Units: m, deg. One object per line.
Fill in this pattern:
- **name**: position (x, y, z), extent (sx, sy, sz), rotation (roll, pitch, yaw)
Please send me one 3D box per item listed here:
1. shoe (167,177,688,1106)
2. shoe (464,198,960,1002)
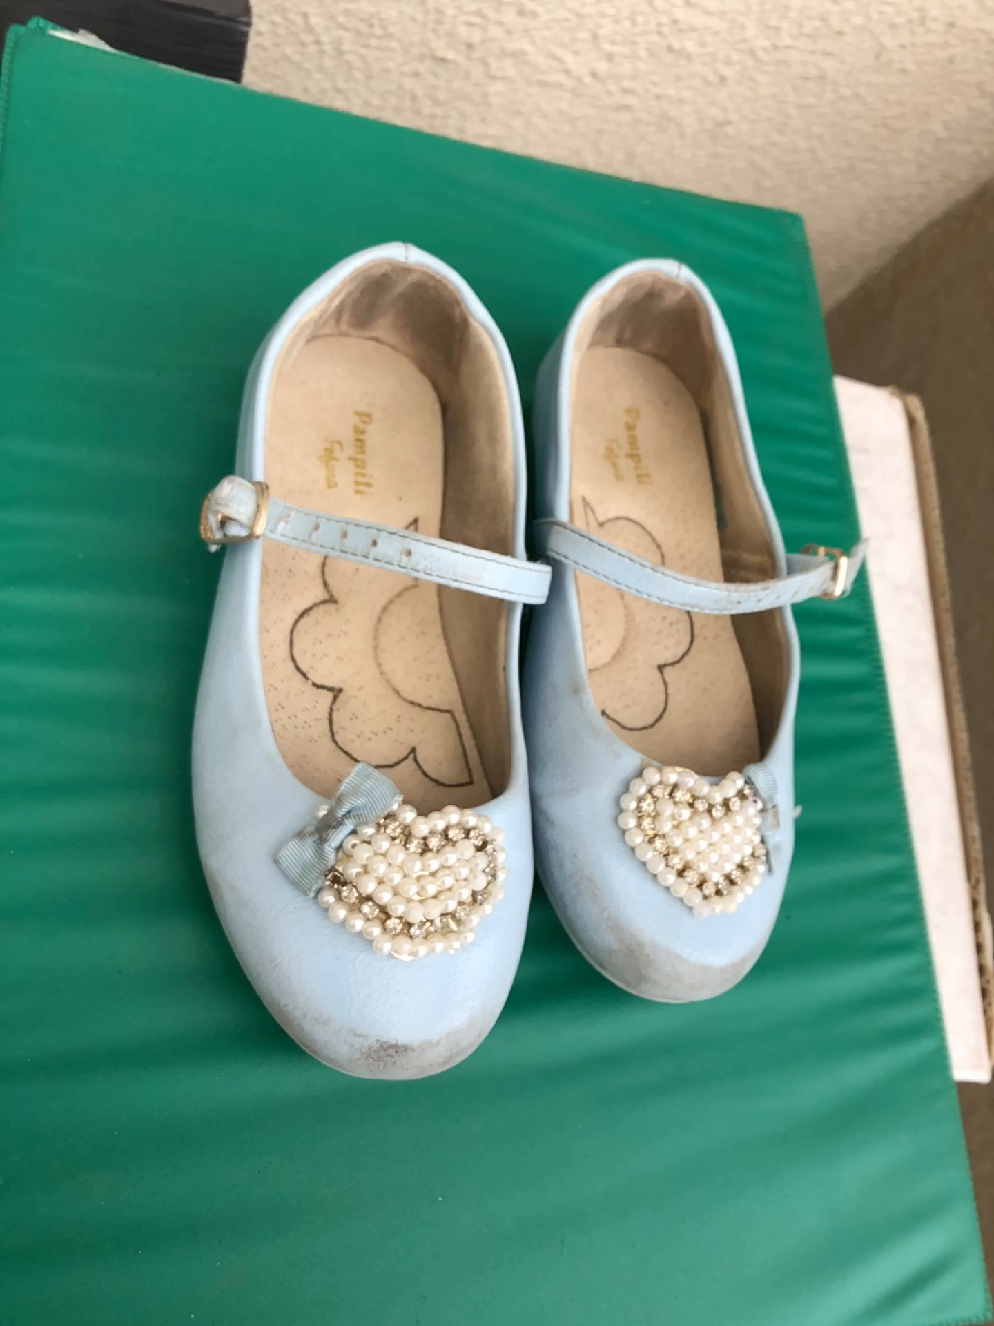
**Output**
- **shoe**: position (-0.020, -0.005, 0.234), extent (0.087, 0.050, 0.170), rotation (3, 72, -24)
- **shoe**: position (0.044, -0.013, 0.261), extent (0.080, 0.050, 0.170), rotation (3, 72, -24)
